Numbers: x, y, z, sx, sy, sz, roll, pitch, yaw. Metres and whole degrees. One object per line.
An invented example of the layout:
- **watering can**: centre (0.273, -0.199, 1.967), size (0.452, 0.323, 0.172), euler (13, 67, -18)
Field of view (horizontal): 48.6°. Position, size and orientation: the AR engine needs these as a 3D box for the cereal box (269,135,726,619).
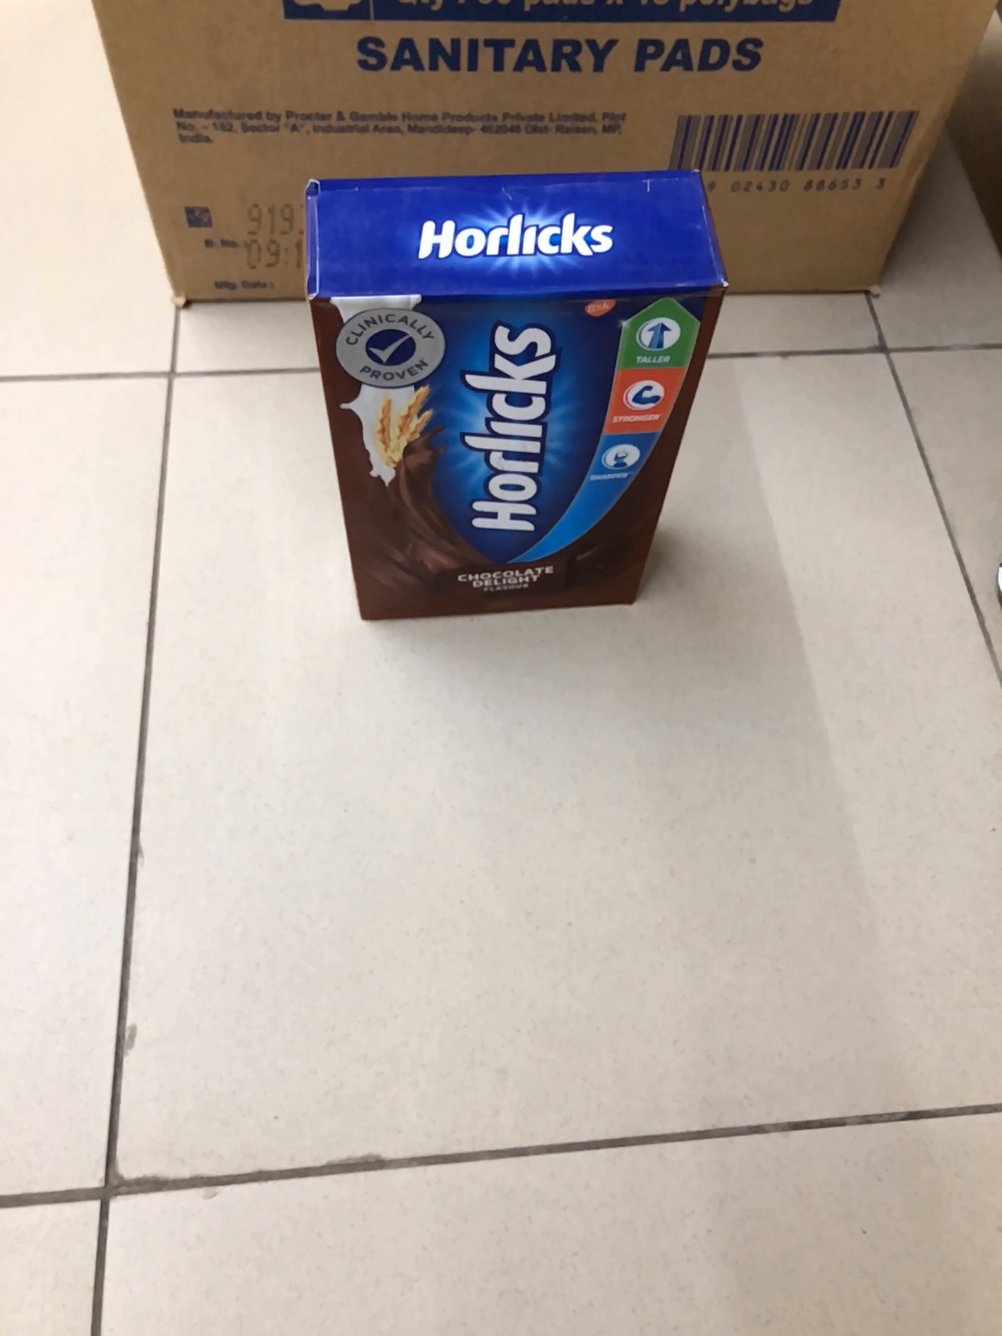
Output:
- **cereal box**: centre (-0.006, -0.101, 0.441), size (0.140, 0.199, 0.060), euler (-3, 61, -4)
